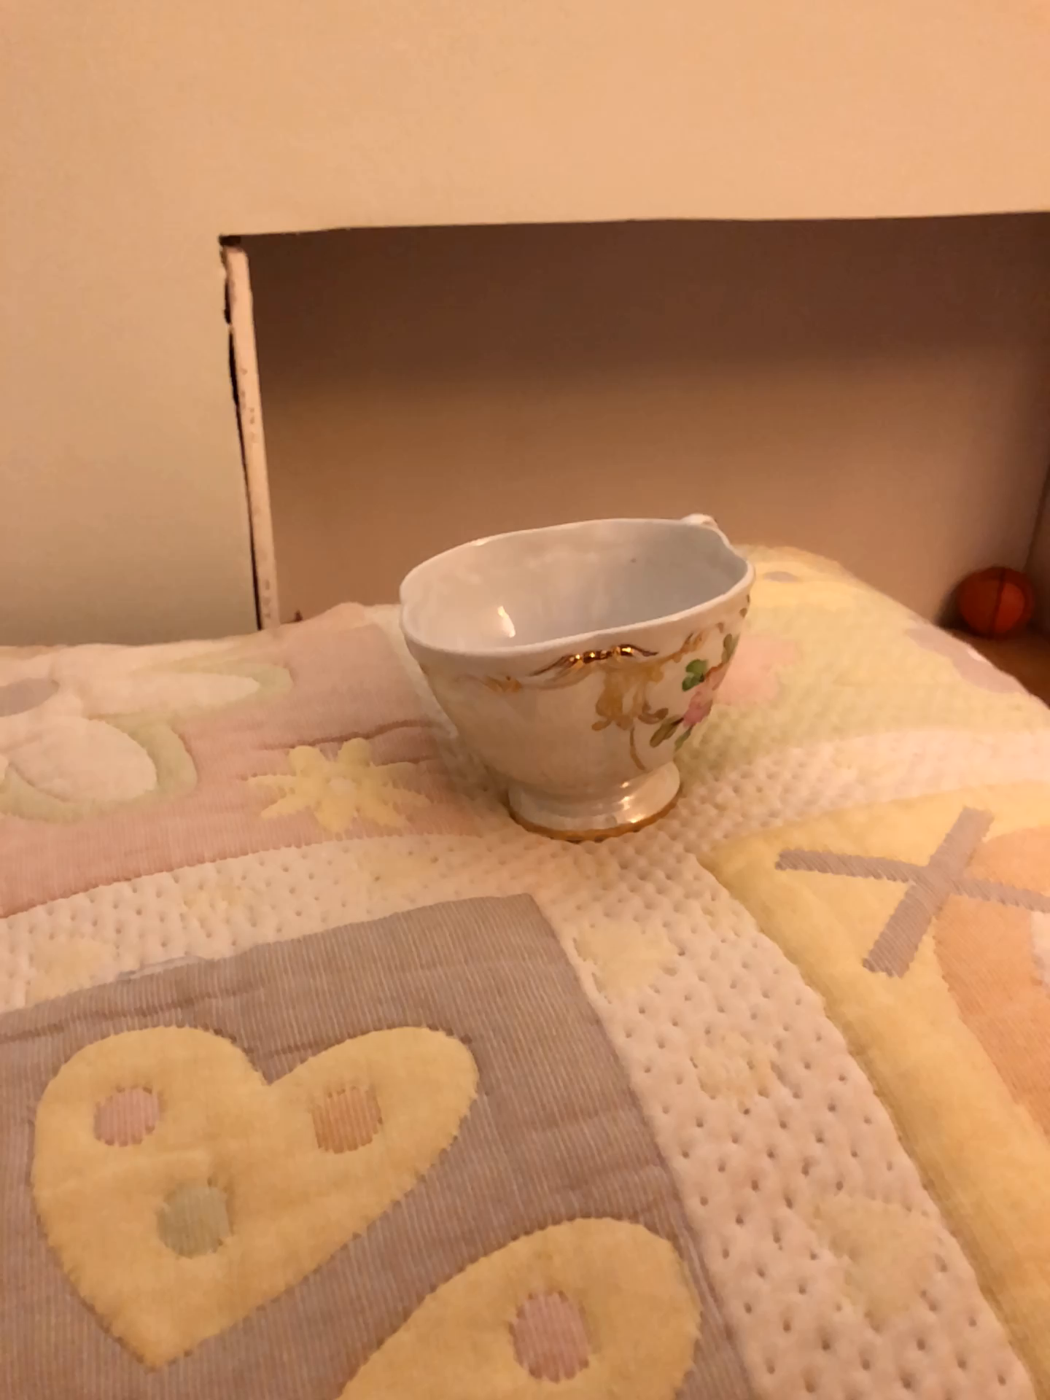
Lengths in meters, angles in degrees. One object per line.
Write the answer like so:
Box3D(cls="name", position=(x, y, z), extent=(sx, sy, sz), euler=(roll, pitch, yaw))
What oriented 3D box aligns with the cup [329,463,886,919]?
Box3D(cls="cup", position=(0.033, -0.015, 0.338), extent=(0.100, 0.070, 0.141), euler=(9, 29, 33))
